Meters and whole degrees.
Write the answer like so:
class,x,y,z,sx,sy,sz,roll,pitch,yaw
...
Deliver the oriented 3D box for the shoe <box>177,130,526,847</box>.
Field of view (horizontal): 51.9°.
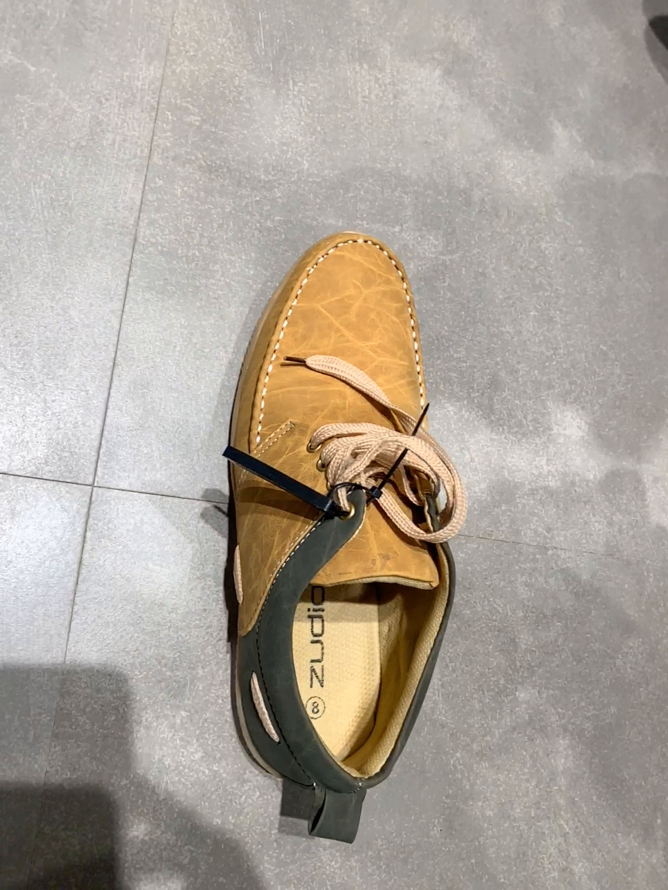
class,x,y,z,sx,sy,sz,roll,pitch,yaw
shoe,0.005,0.019,0.323,0.111,0.117,0.267,8,75,-21
